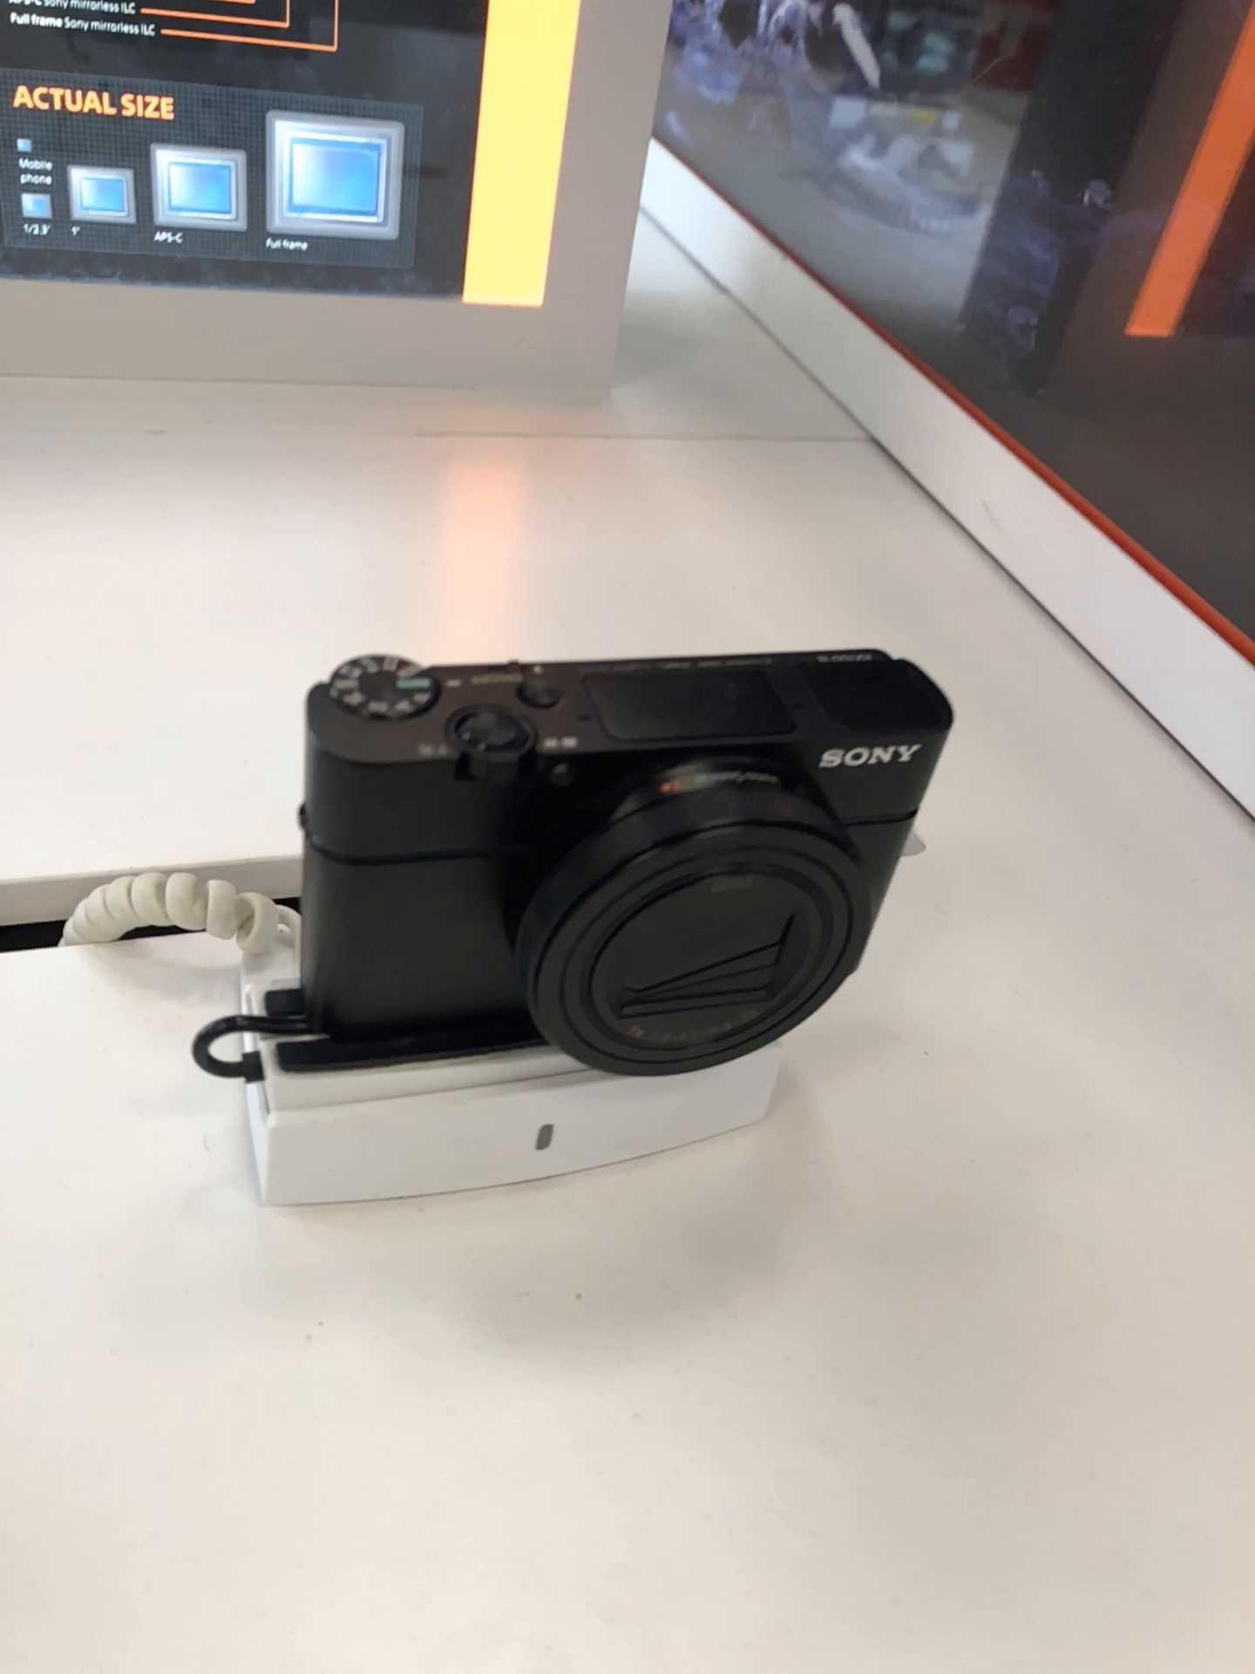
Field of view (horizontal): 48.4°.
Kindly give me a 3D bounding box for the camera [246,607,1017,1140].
[{"bbox_3d":[-0.004,0.004,0.231,0.110,0.070,0.040,-4,41,-20],"label":"camera"}]
